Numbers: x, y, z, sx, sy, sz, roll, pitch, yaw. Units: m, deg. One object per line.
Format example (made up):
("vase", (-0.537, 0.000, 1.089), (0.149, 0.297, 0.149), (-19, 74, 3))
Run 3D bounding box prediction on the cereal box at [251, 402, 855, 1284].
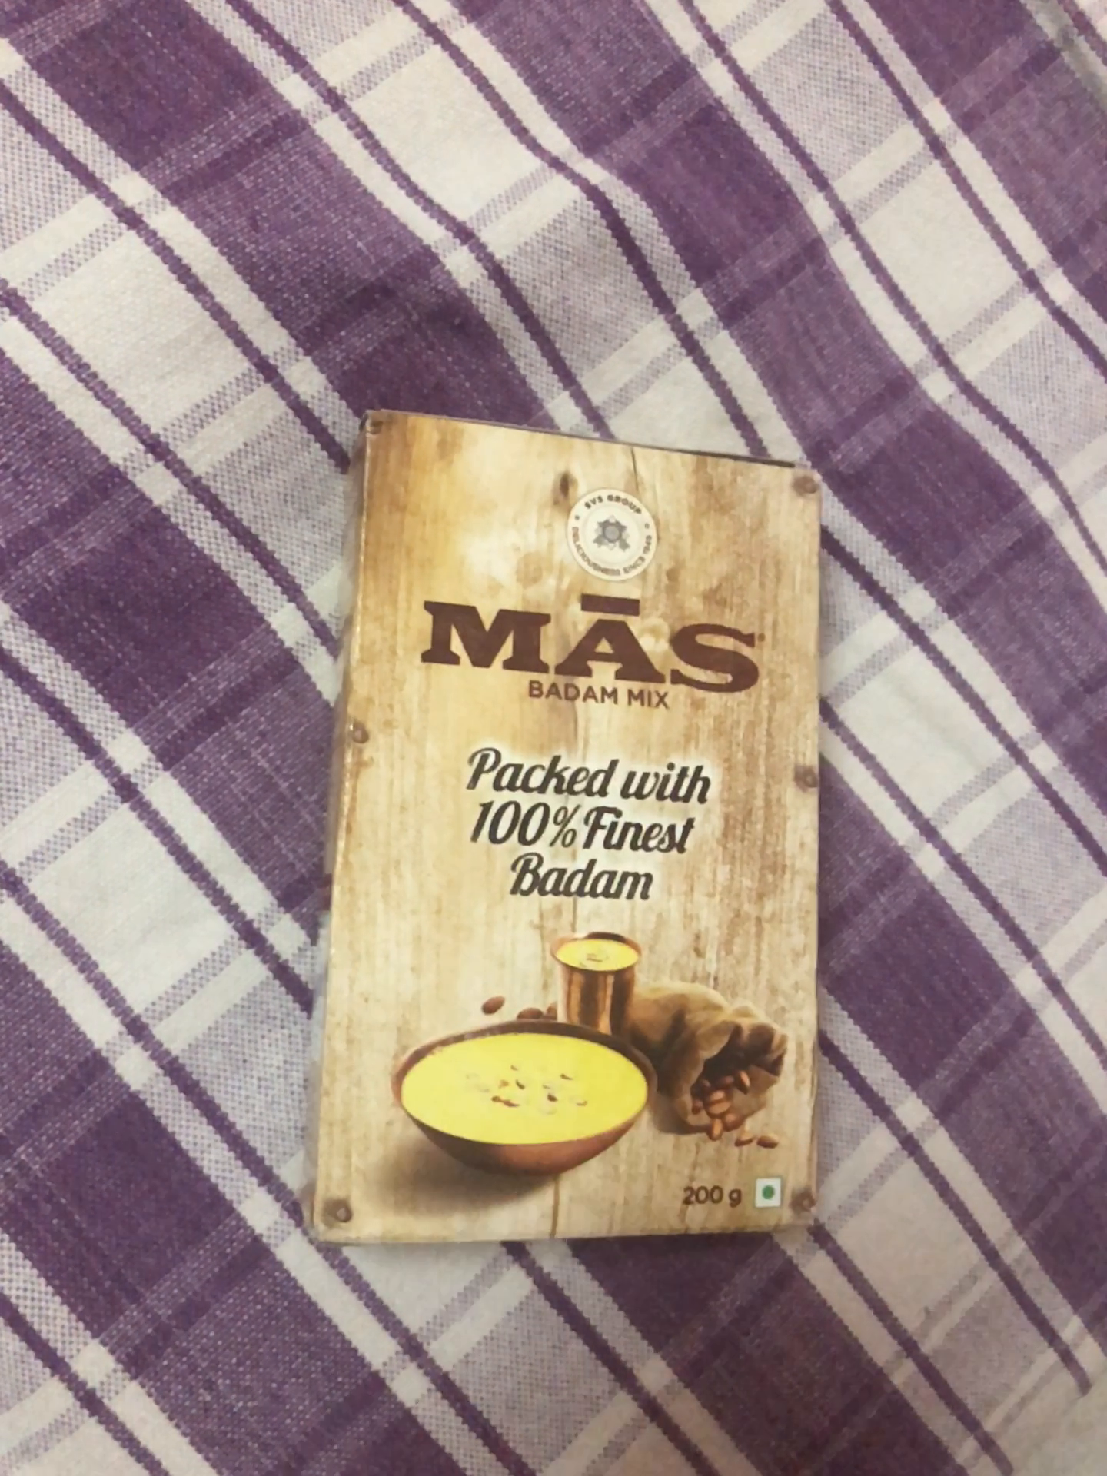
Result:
("cereal box", (0.001, 0.018, 0.207), (0.090, 0.030, 0.130), (5, 82, -13))
